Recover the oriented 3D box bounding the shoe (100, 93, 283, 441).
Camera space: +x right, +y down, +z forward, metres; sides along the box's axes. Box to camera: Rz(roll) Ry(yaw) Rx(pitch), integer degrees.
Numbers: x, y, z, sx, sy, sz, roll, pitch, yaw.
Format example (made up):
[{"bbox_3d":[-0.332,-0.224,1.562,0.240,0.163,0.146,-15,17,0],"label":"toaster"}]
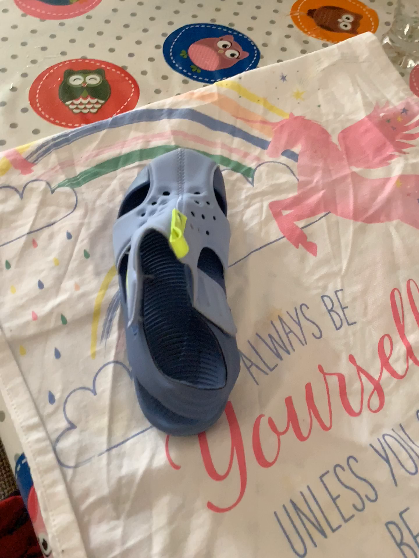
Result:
[{"bbox_3d":[-0.019,-0.013,0.292,0.086,0.090,0.217,-3,63,-5],"label":"shoe"}]
